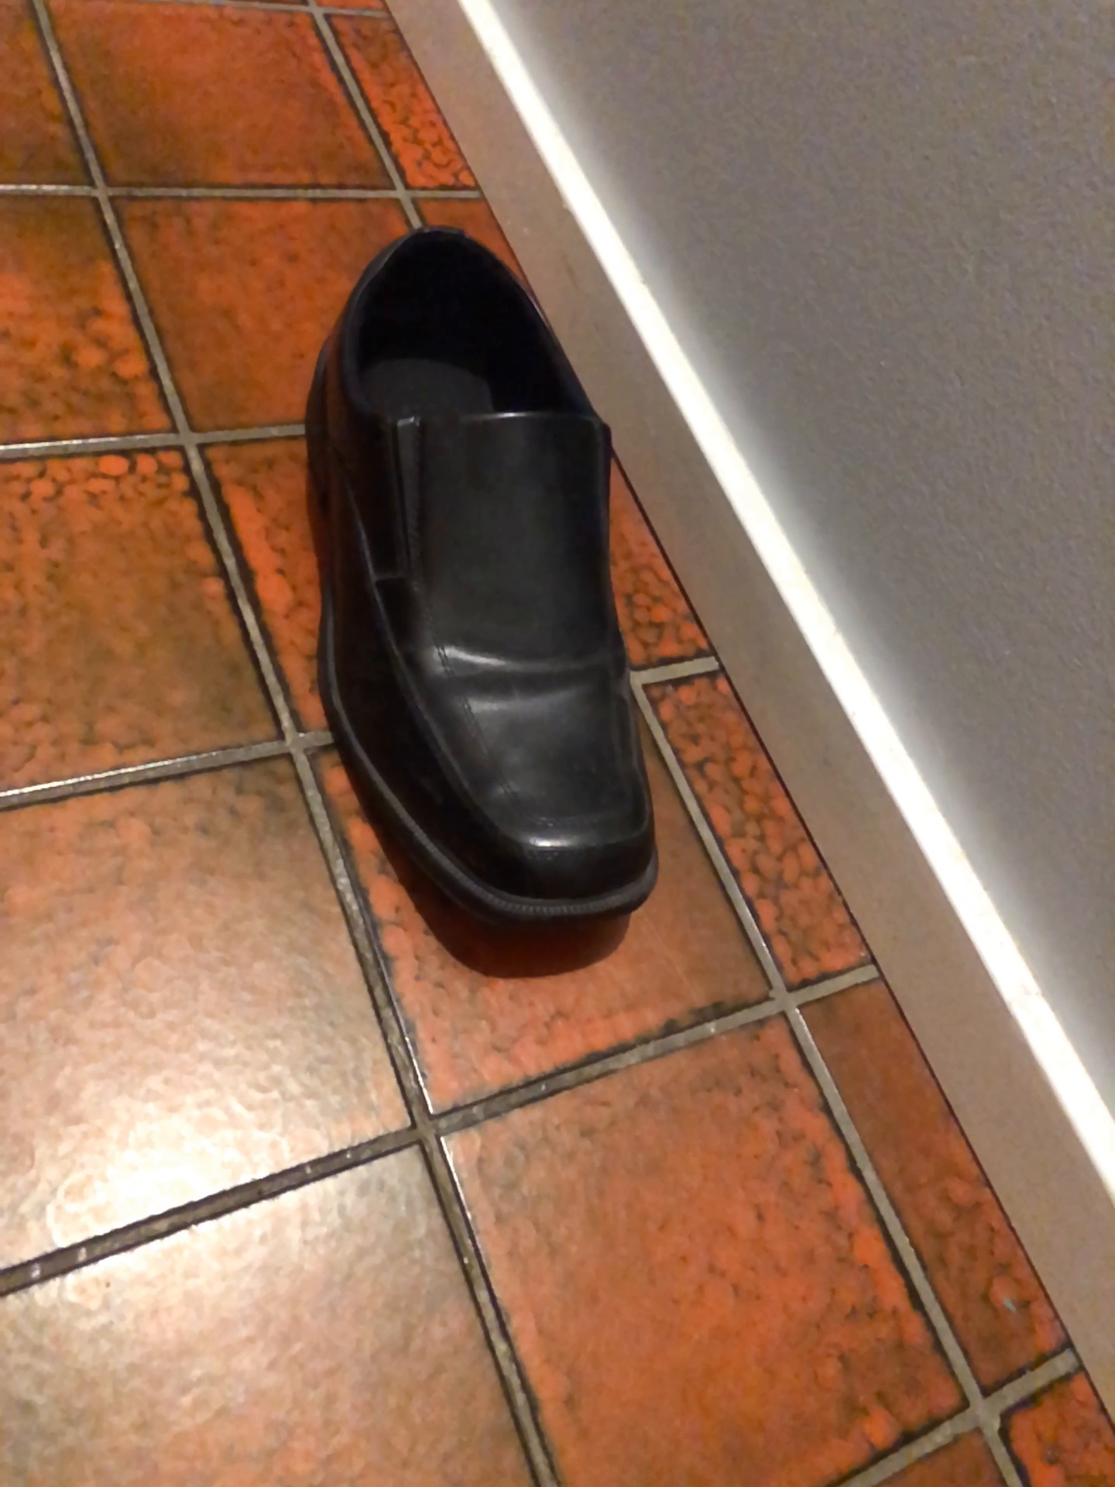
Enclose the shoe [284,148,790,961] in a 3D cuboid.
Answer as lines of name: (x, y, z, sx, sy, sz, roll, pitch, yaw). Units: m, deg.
shoe: (-0.026, -0.081, 0.479, 0.120, 0.100, 0.300, -1, 61, -21)
